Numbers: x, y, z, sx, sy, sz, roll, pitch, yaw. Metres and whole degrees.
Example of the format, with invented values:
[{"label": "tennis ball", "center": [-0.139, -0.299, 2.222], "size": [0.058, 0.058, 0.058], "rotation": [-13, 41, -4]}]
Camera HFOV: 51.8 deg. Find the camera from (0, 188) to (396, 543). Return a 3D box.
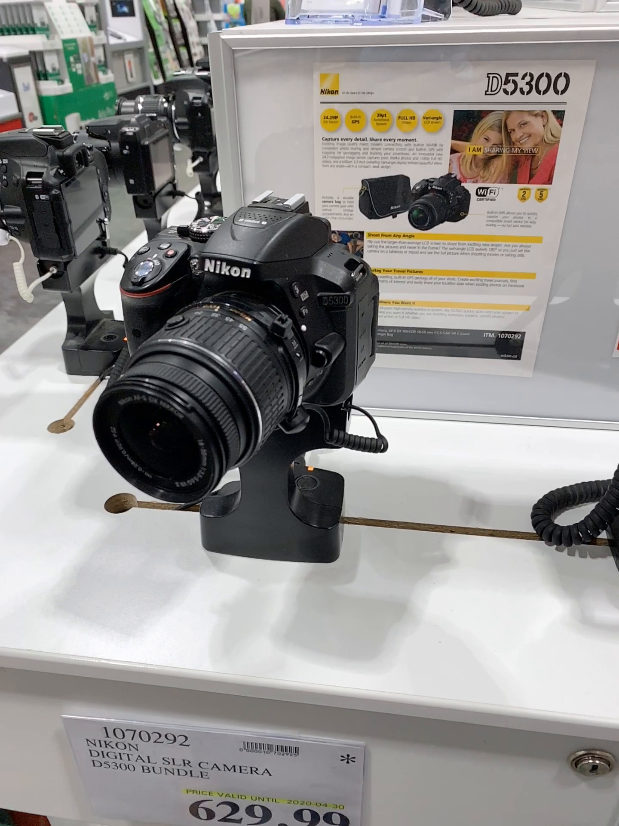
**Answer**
[{"label": "camera", "center": [-0.036, -0.038, 0.310], "size": [0.120, 0.099, 0.151], "rotation": [9, 33, 17]}]
